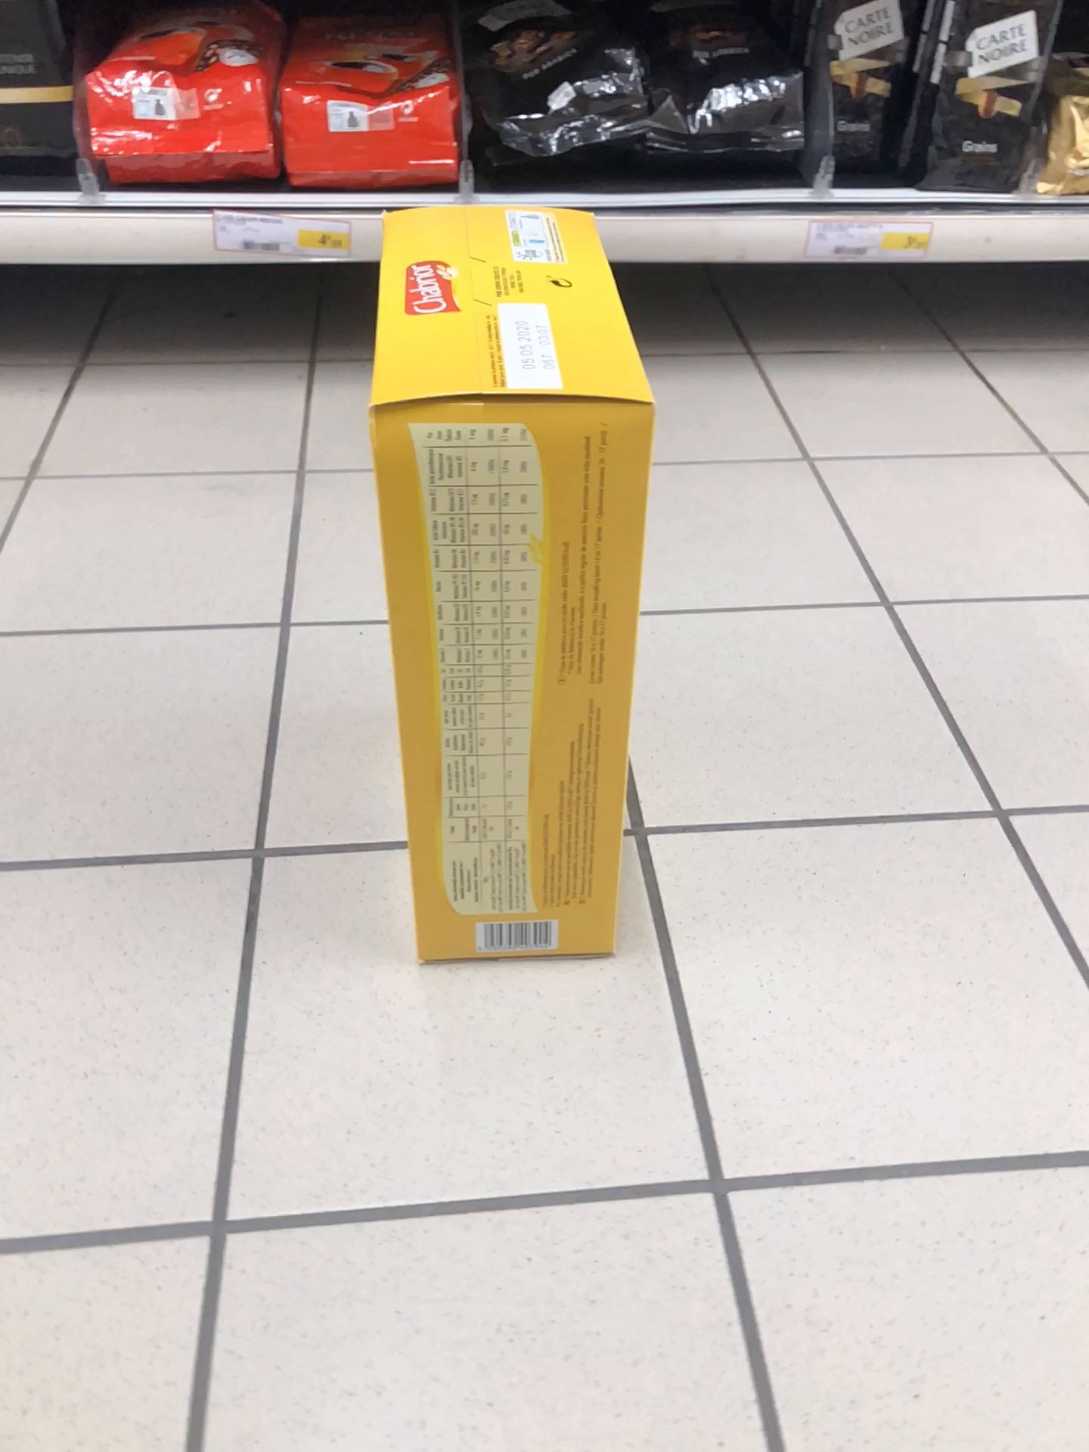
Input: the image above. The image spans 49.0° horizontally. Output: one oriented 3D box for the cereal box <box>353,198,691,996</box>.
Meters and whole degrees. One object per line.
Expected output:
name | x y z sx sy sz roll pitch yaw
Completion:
cereal box | -0.018 -0.056 0.568 0.110 0.308 0.211 -1 40 -4
